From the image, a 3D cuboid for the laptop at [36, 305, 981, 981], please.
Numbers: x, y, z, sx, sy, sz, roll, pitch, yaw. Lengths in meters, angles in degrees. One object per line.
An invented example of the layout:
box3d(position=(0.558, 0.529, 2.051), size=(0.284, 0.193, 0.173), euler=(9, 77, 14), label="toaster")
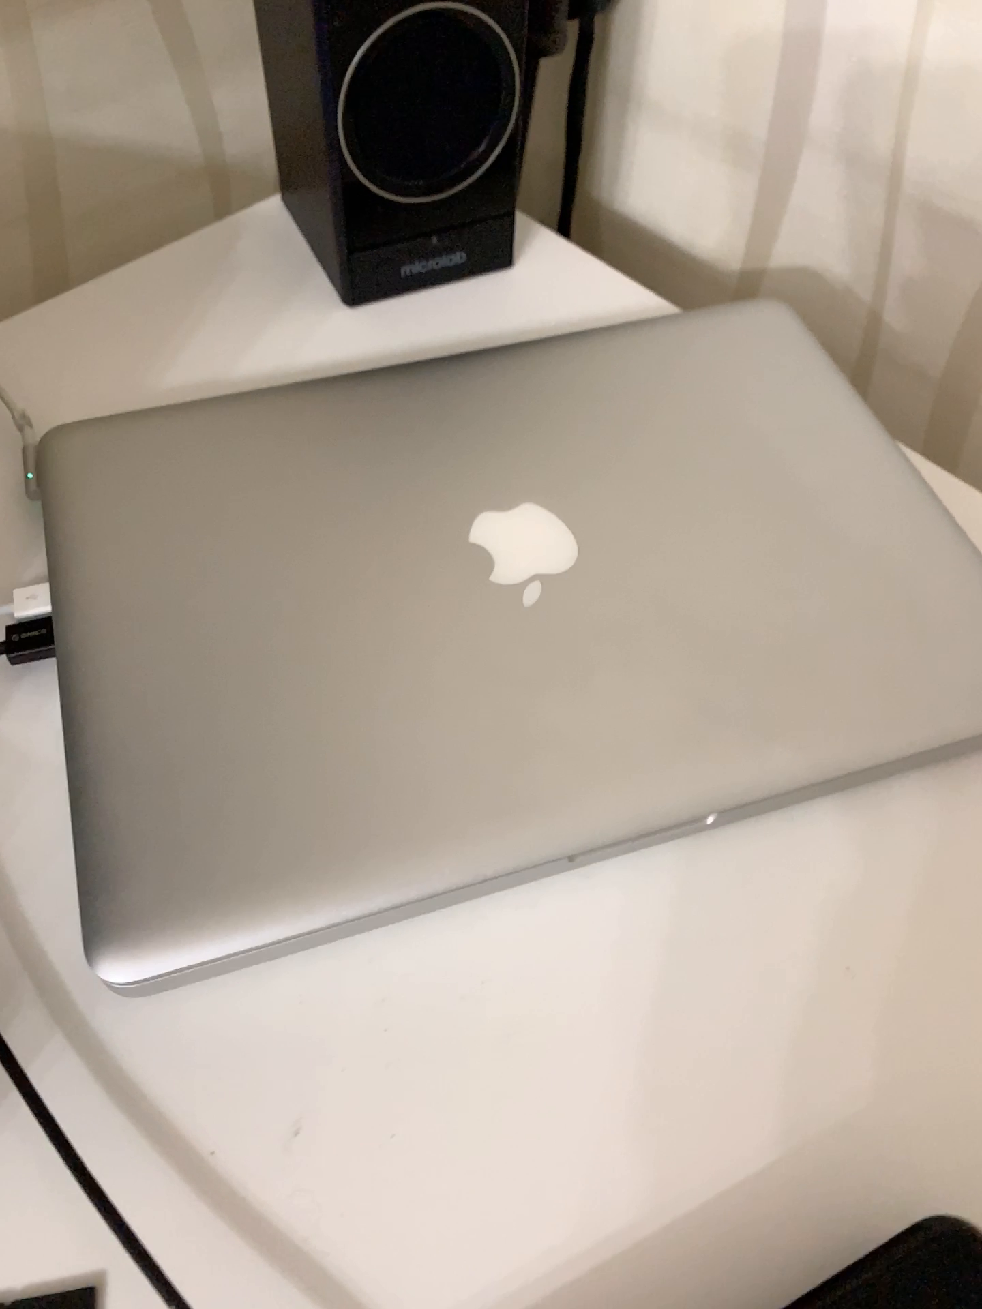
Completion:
box3d(position=(0.008, -0.030, 0.360), size=(0.304, 0.011, 0.208), euler=(-14, 58, -11), label="laptop")
